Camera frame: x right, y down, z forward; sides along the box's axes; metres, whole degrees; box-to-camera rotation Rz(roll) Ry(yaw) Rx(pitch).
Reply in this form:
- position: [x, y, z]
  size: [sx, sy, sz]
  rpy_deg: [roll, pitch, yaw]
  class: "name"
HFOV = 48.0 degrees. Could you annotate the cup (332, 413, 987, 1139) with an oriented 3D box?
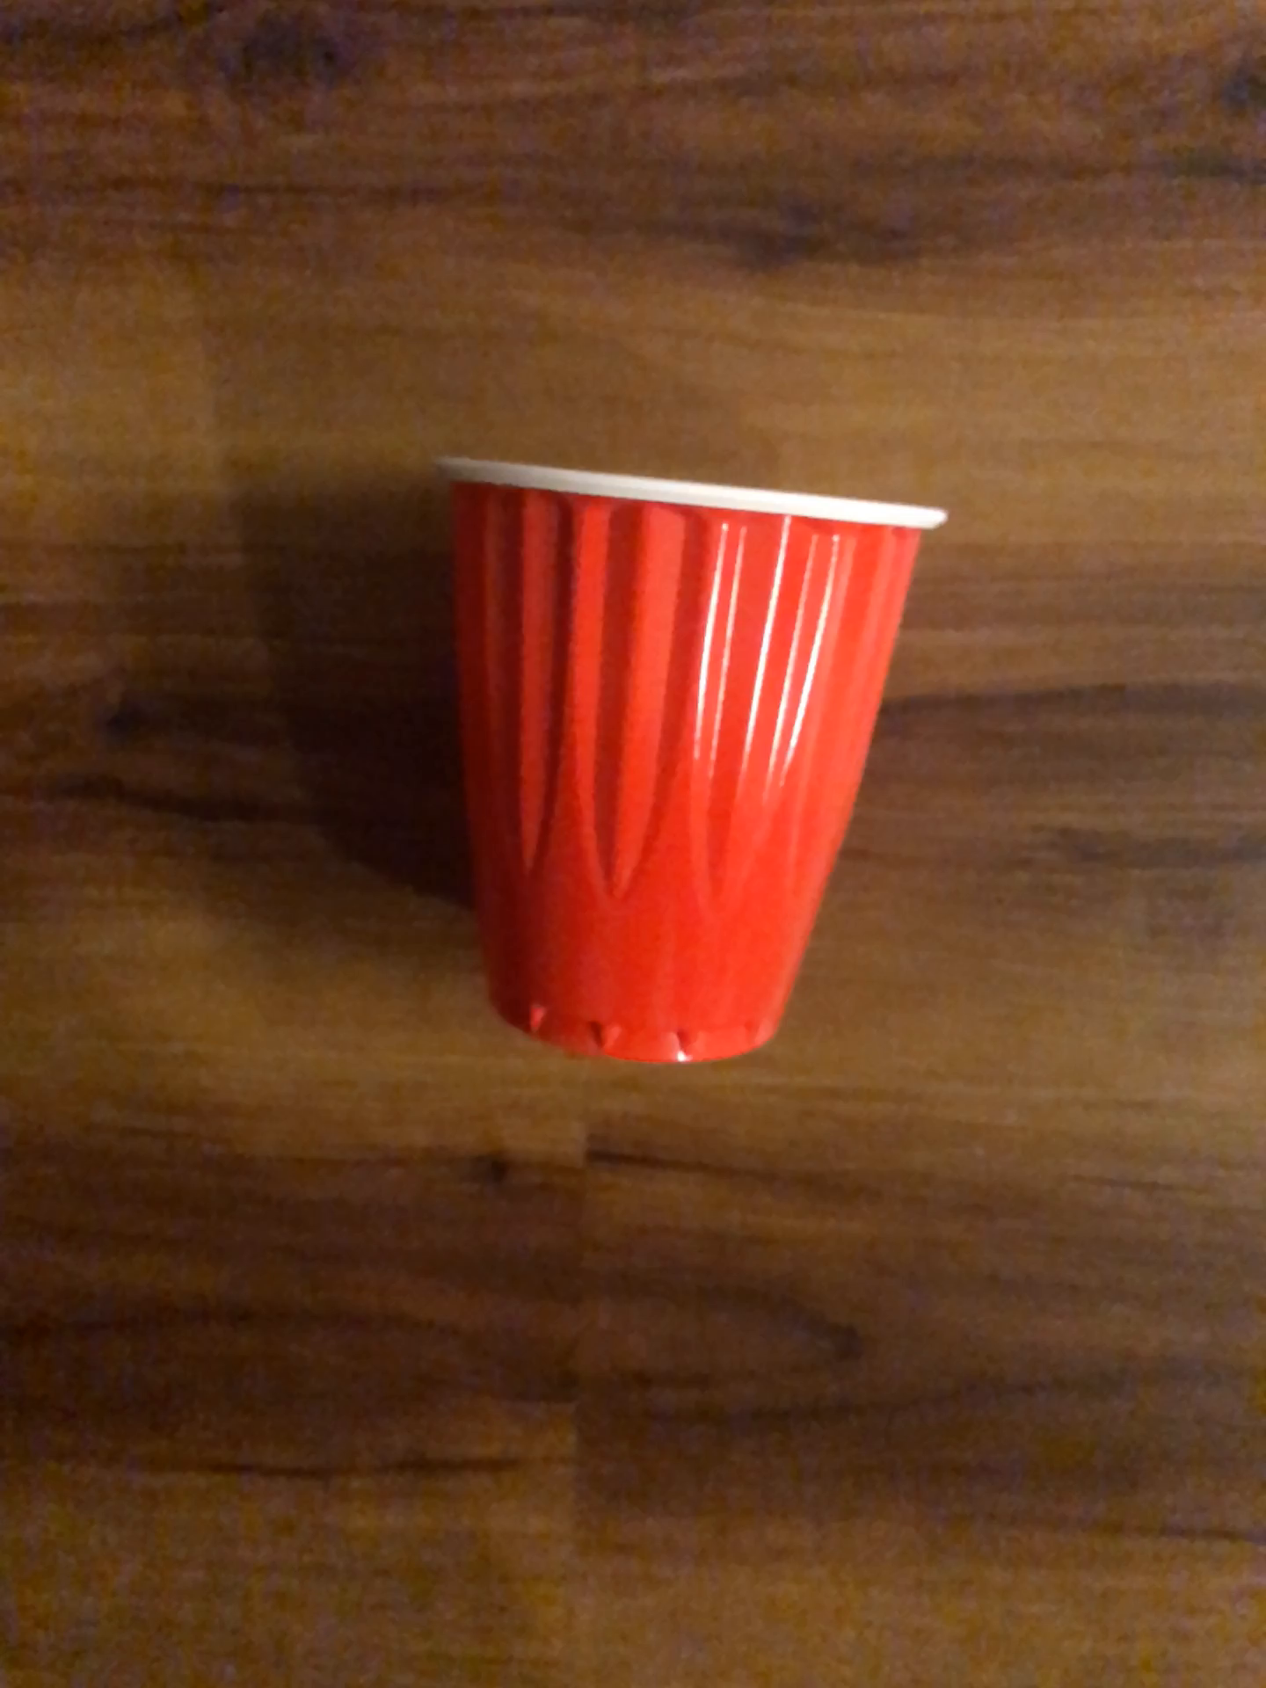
- position: [0.005, -0.019, 0.291]
  size: [0.099, 0.089, 0.114]
  rpy_deg: [9, 103, 3]
  class: "cup"
